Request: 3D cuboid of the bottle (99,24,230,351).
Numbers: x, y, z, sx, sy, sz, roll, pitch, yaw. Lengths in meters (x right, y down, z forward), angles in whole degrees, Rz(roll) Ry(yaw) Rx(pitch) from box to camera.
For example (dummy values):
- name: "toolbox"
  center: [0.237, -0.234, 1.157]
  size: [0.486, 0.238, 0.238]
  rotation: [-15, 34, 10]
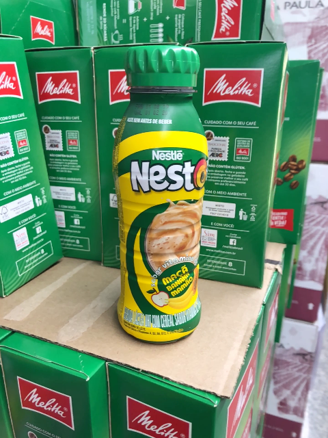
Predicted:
- name: "bottle"
  center: [-0.003, -0.017, 0.233]
  size: [0.060, 0.179, 0.060]
  rotation: [0, 17, 0]
